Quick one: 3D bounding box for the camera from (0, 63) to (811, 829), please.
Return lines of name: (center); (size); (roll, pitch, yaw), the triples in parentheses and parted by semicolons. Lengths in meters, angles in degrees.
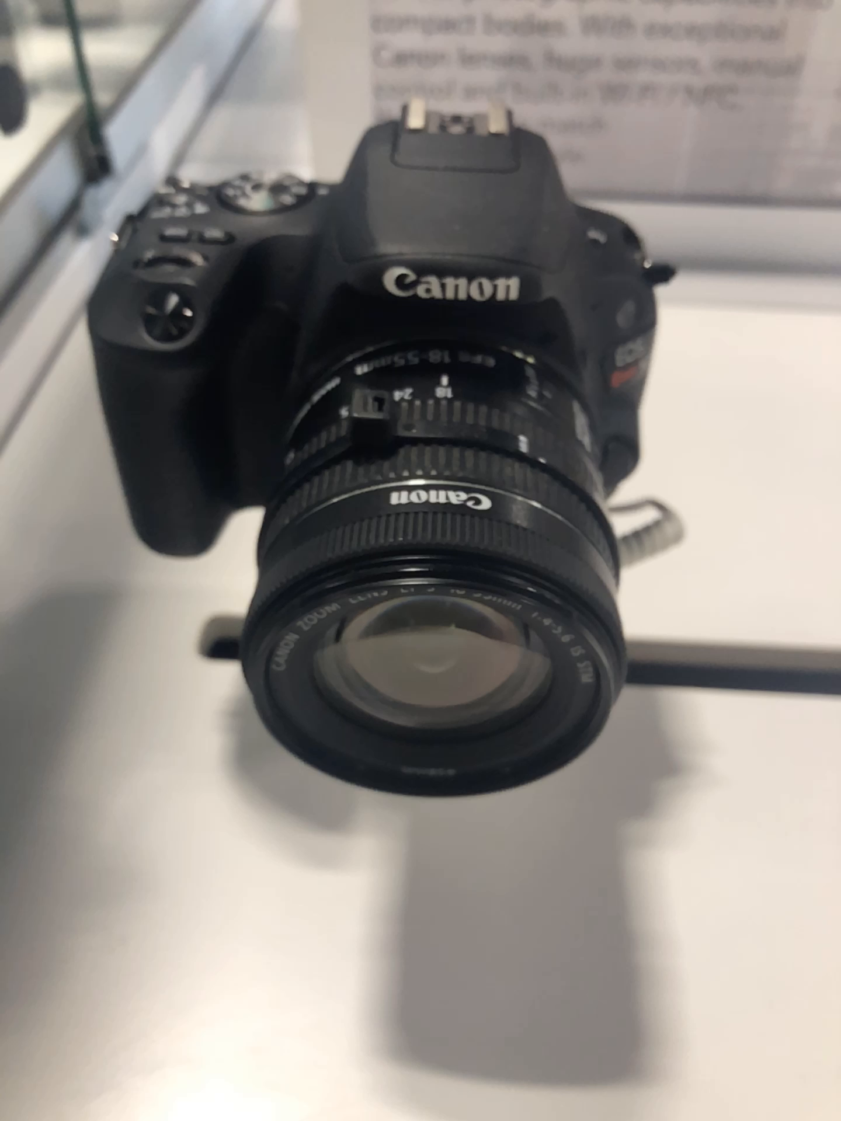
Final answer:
camera: (-0.012, -0.025, 0.188); (0.122, 0.099, 0.111); (2, 45, 3)
